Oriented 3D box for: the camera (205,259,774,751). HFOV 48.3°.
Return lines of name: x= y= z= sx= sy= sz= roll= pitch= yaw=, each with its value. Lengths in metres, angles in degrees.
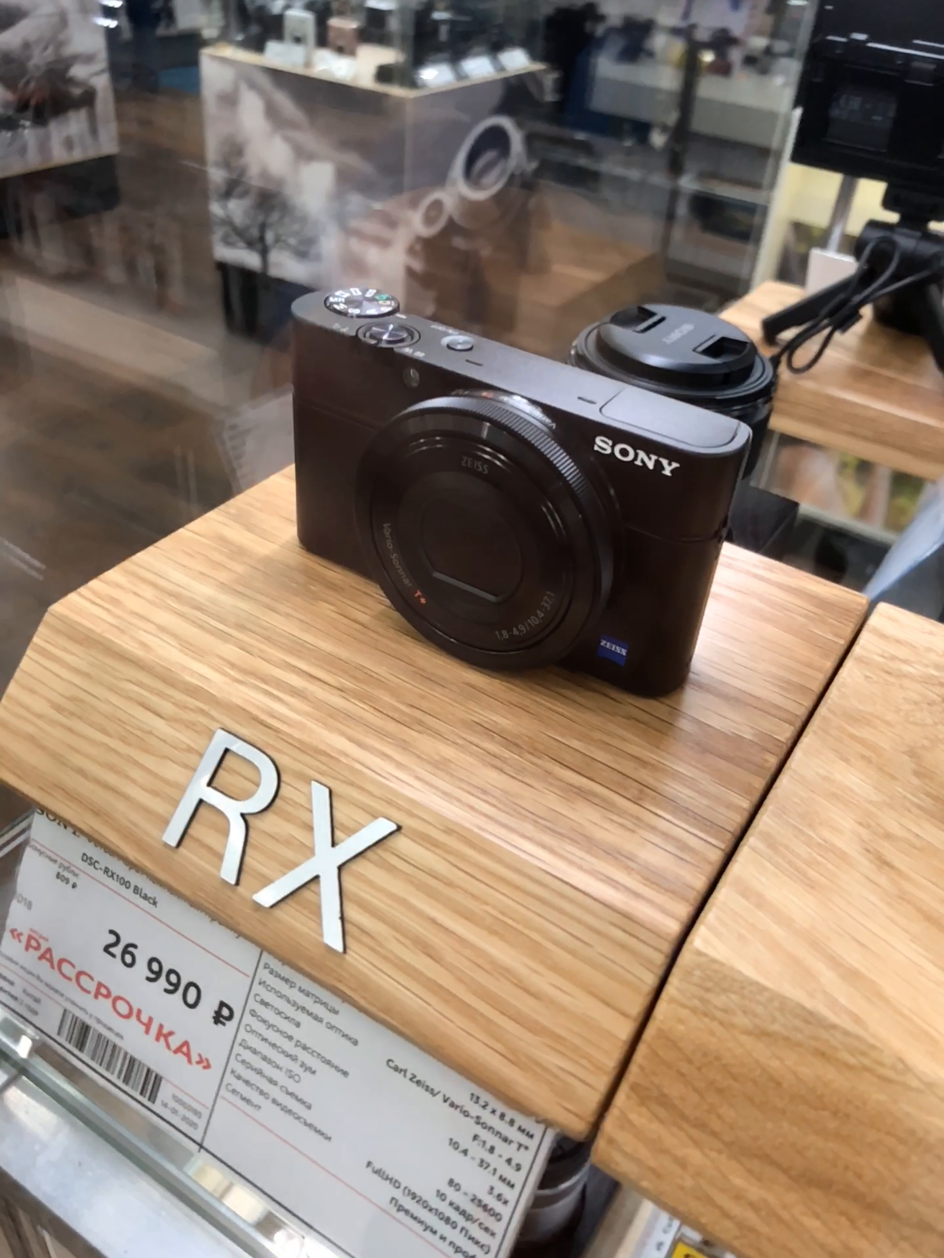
camera: x=-0.001 y=-0.030 z=0.221 sx=0.106 sy=0.062 sz=0.037 roll=24 pitch=41 yaw=23
